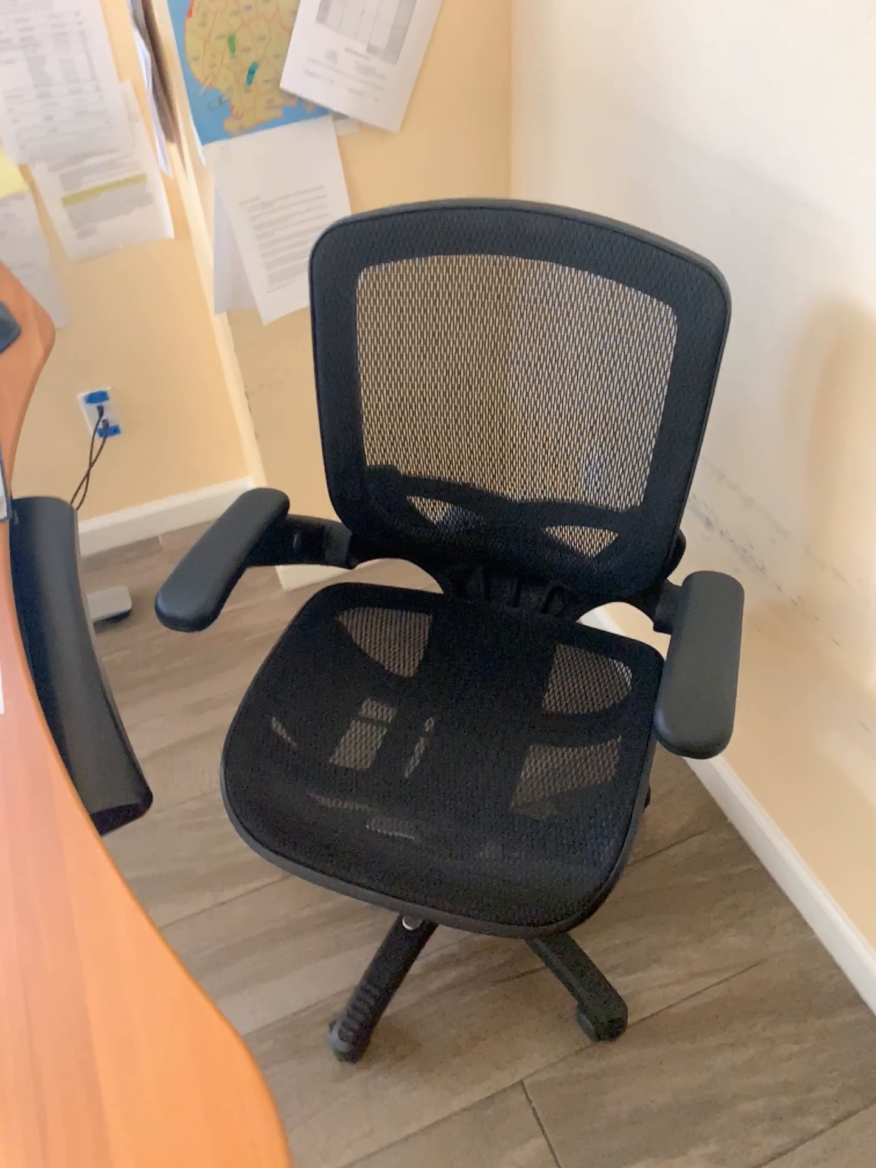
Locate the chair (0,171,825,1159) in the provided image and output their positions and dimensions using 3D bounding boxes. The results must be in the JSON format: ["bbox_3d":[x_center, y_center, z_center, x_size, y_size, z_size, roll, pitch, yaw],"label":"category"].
[{"bbox_3d":[0.035,0.093,1.140,0.640,0.869,0.776,12,47,13],"label":"chair"}]
